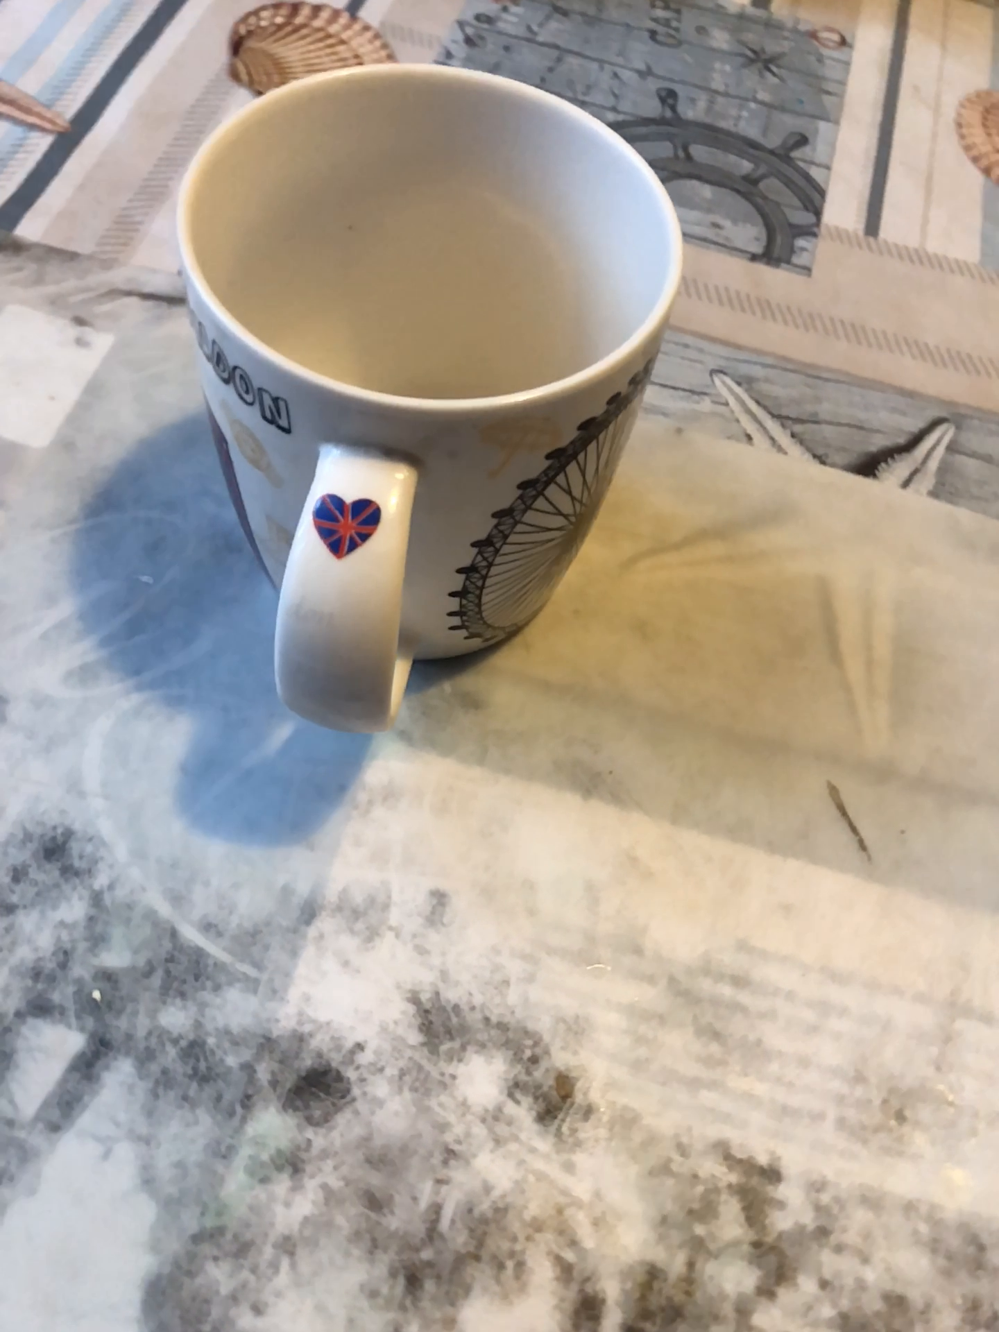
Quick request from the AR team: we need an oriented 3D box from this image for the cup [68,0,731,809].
[{"bbox_3d":[-0.010,-0.052,0.222,0.084,0.086,0.121,10,59,3],"label":"cup"}]
